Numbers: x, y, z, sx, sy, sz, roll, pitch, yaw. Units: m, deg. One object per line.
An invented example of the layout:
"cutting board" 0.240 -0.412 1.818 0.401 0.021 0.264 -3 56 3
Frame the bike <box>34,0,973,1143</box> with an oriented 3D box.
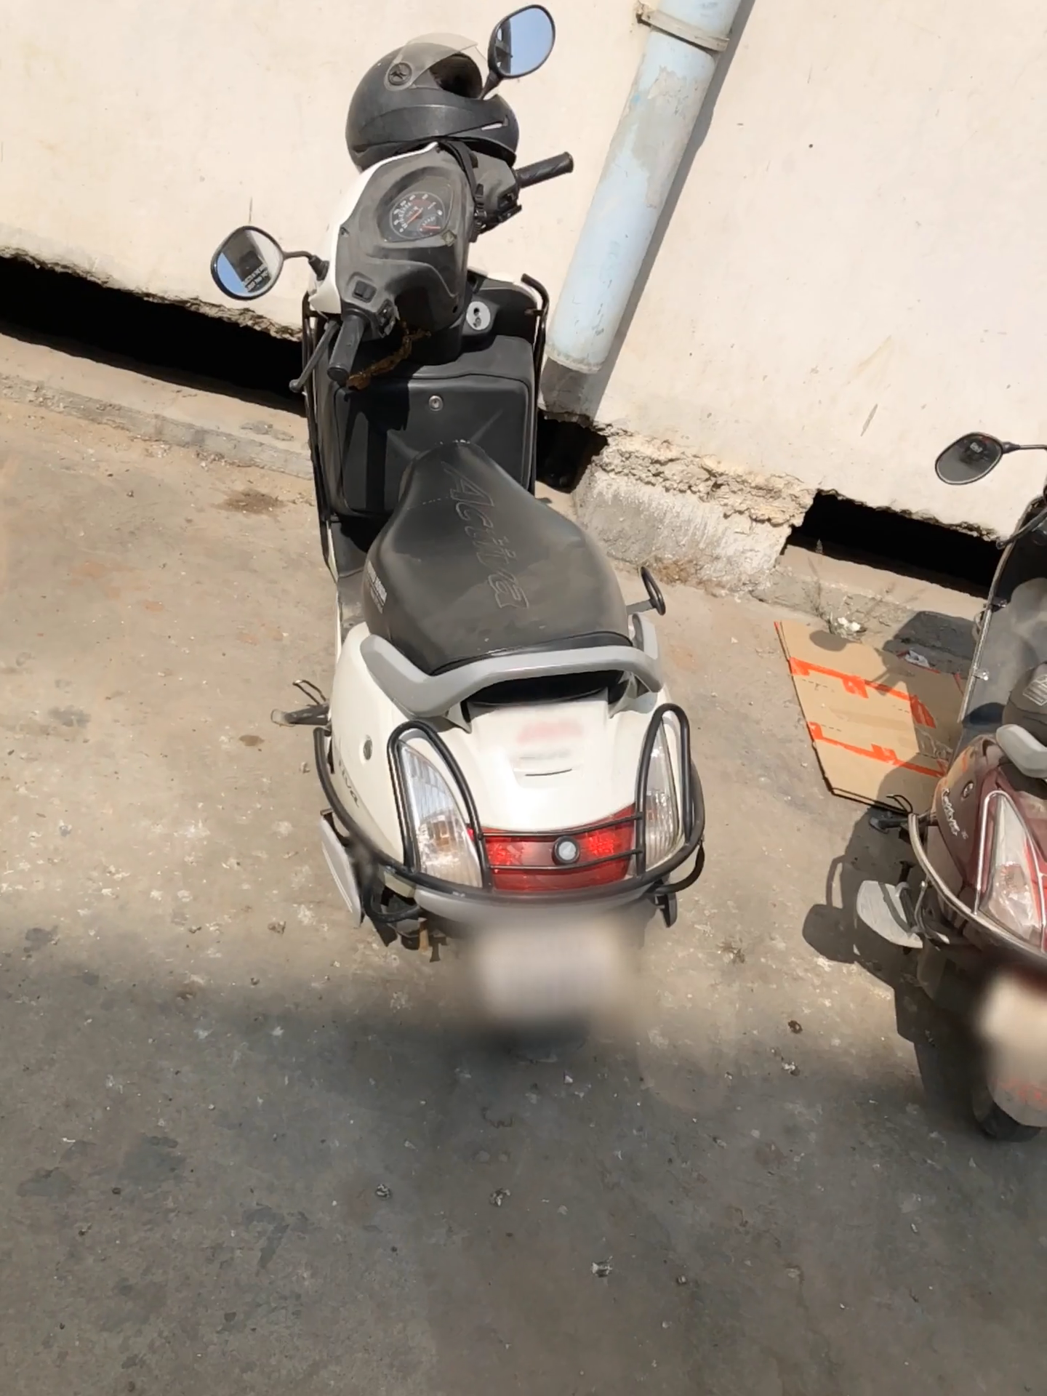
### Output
"bike" -0.262 -0.274 1.742 0.626 1.122 1.304 -1 43 -30
